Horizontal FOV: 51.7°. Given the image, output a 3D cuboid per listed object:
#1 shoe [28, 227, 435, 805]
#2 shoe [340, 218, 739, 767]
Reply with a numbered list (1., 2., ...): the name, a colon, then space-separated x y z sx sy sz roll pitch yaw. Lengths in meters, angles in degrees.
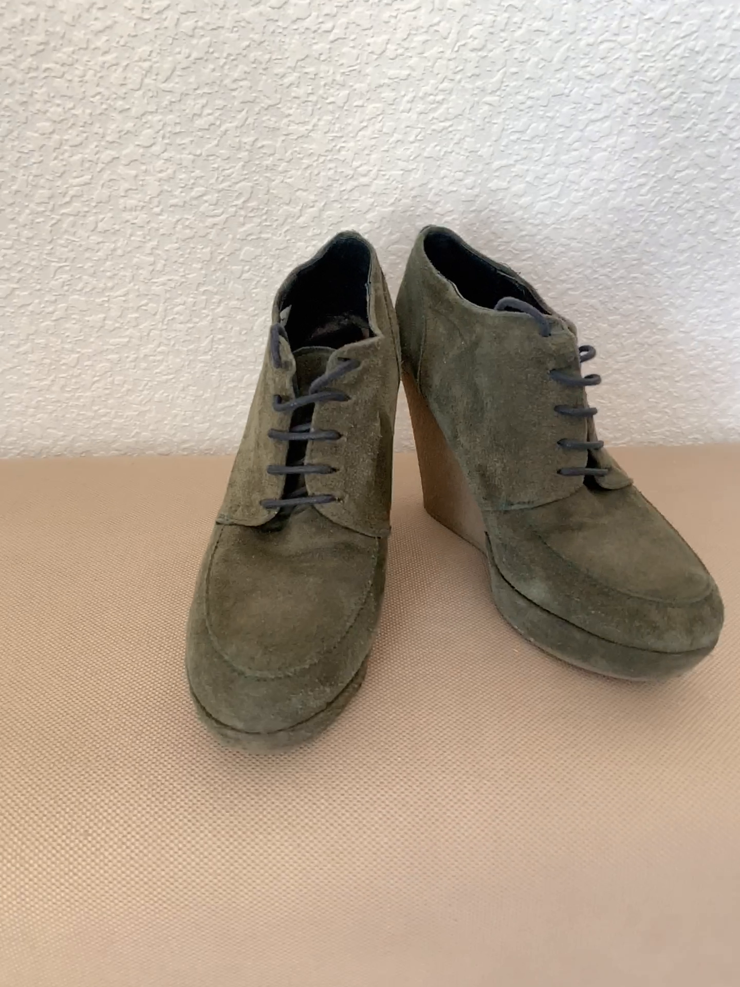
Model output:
1. shoe: -0.032 -0.014 0.333 0.086 0.136 0.230 7 34 8
2. shoe: 0.074 -0.029 0.378 0.080 0.139 0.271 -13 36 -21
